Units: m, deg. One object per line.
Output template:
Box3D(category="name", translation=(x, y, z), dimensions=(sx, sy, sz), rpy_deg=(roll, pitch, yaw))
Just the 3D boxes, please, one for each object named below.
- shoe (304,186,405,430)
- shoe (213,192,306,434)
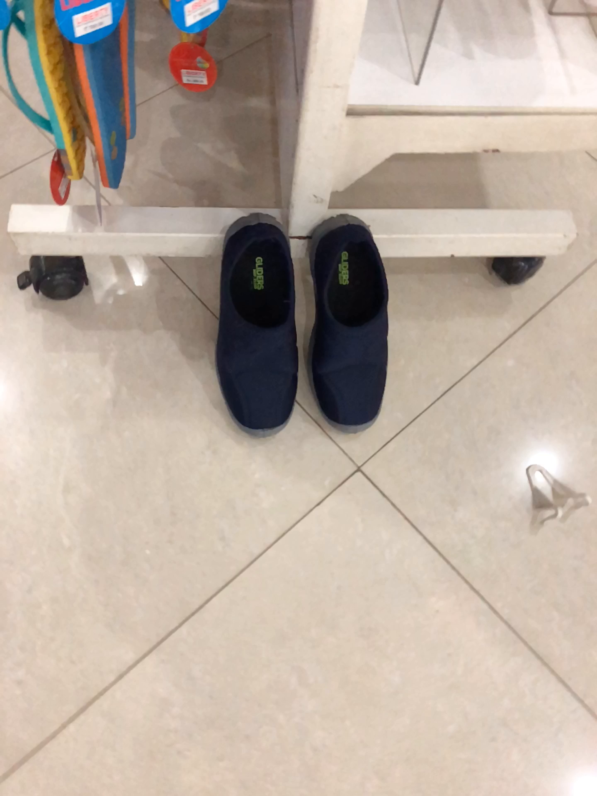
Box3D(category="shoe", translation=(0.066, -0.109, 0.826), dimensions=(0.110, 0.084, 0.288), rpy_deg=(1, 80, -5))
Box3D(category="shoe", translation=(-0.048, -0.103, 0.823), dimensions=(0.107, 0.064, 0.288), rpy_deg=(1, 83, -5))
